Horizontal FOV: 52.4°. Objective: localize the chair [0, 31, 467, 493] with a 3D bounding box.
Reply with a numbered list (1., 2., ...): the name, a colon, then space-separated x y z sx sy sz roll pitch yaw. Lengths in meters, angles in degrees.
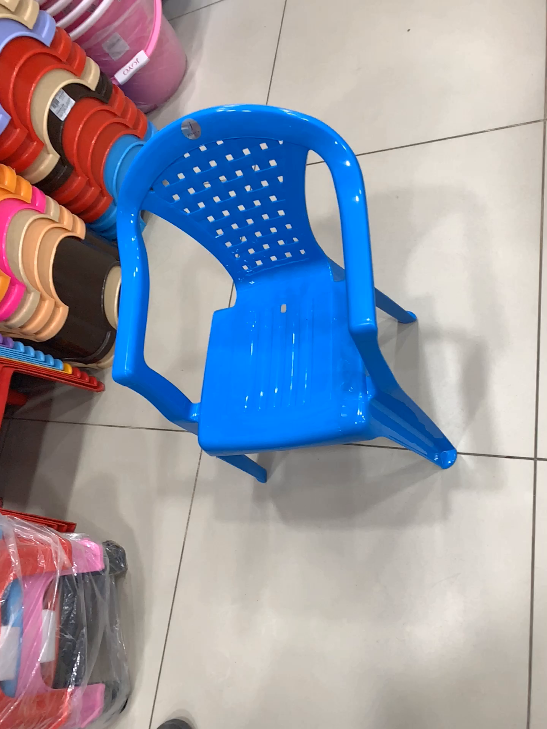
1. chair: 0.003 -0.042 0.741 0.371 0.498 0.340 -9 67 27
